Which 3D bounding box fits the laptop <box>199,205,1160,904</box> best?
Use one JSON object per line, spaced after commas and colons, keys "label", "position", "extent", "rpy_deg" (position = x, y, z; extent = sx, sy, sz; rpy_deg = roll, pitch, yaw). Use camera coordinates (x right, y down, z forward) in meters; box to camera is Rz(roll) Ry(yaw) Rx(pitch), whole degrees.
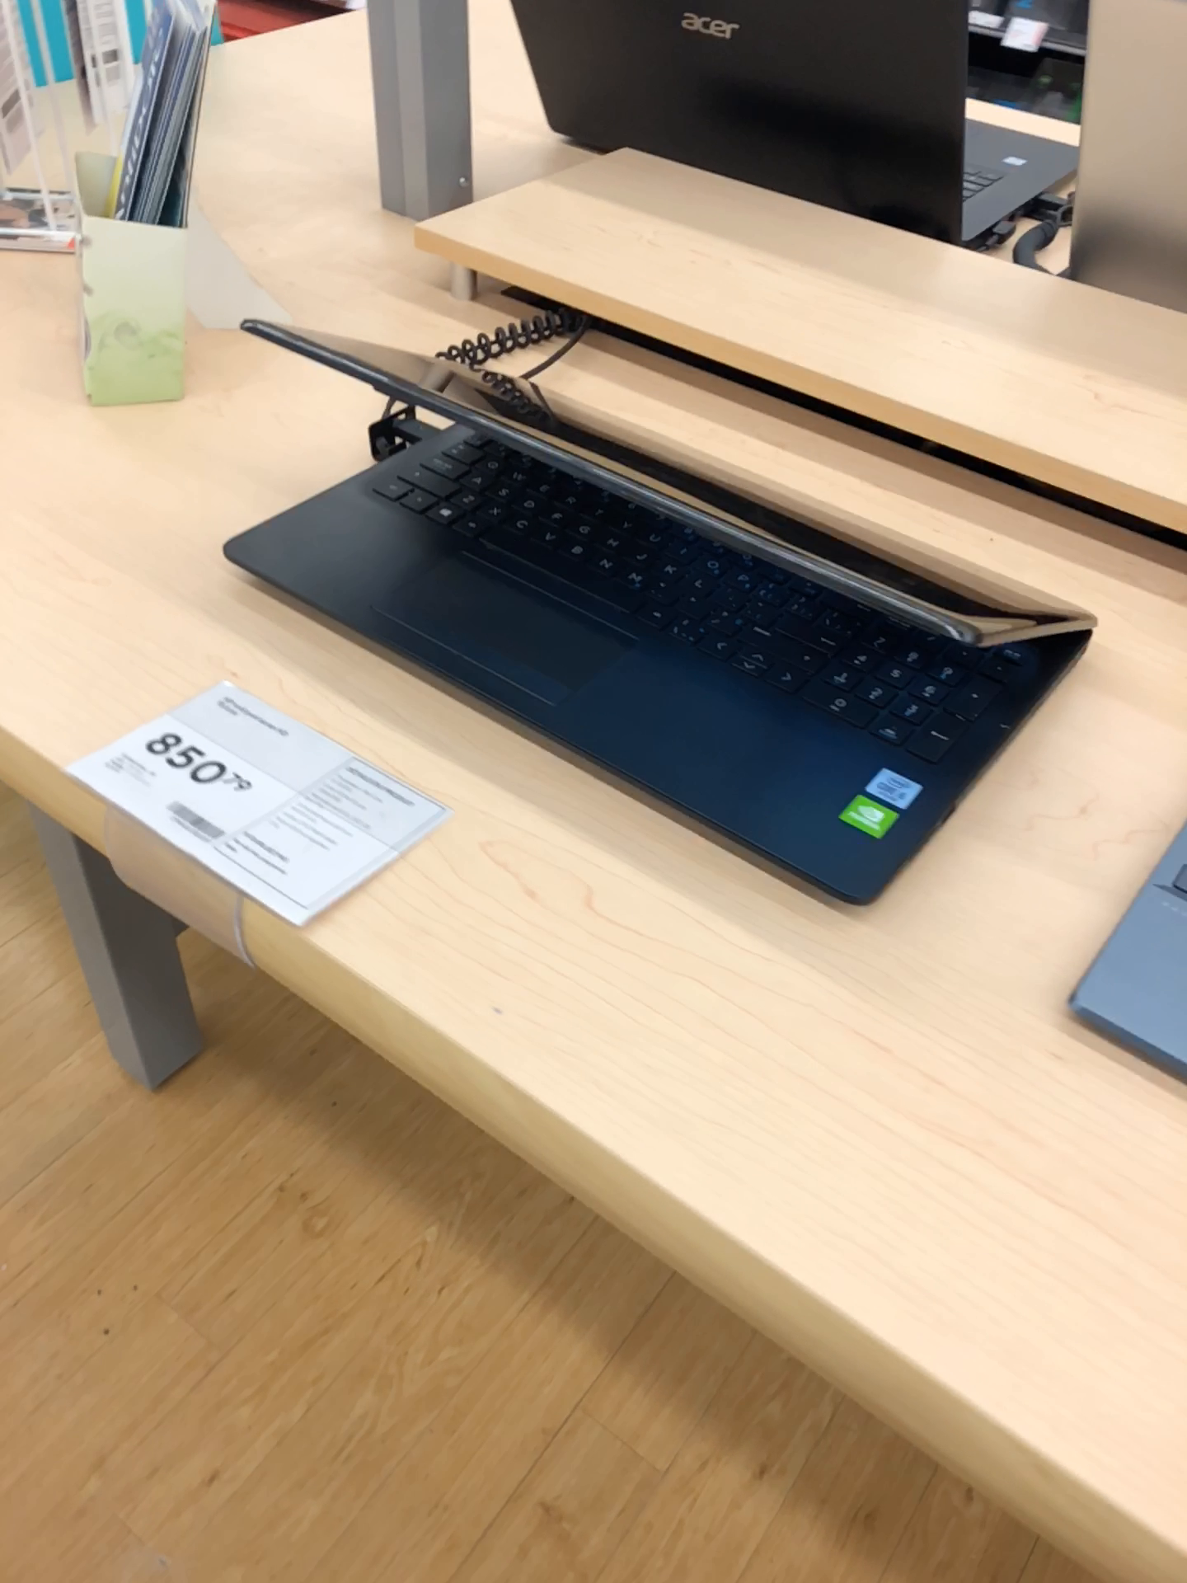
{"label": "laptop", "position": [0.033, -0.145, 0.621], "extent": [0.371, 0.115, 0.240], "rpy_deg": [29, 48, 26]}
